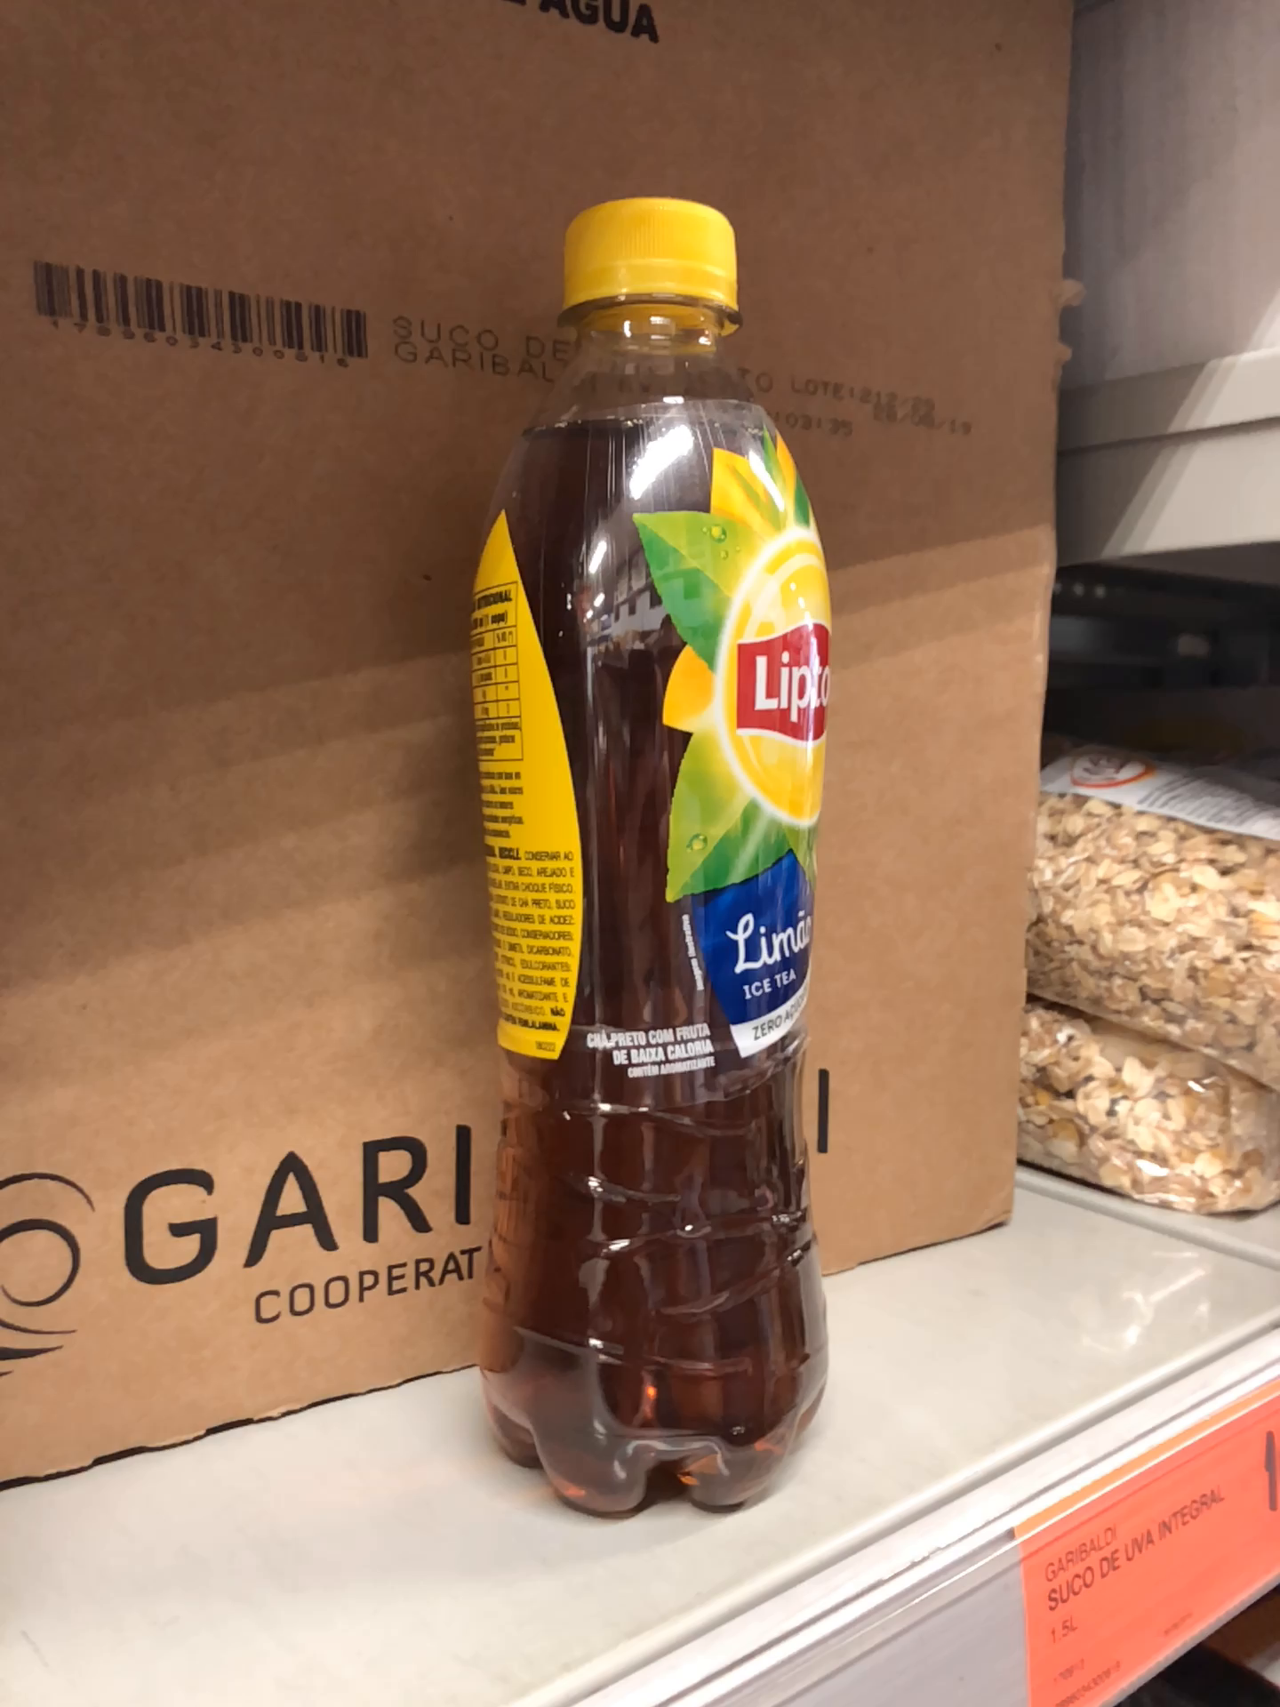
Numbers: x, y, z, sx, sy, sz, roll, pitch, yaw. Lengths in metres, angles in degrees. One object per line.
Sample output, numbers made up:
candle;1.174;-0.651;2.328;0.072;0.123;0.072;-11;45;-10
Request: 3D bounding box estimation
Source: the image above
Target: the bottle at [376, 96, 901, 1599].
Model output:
bottle;0.001;-0.001;0.253;0.060;0.219;0.070;5;8;33
